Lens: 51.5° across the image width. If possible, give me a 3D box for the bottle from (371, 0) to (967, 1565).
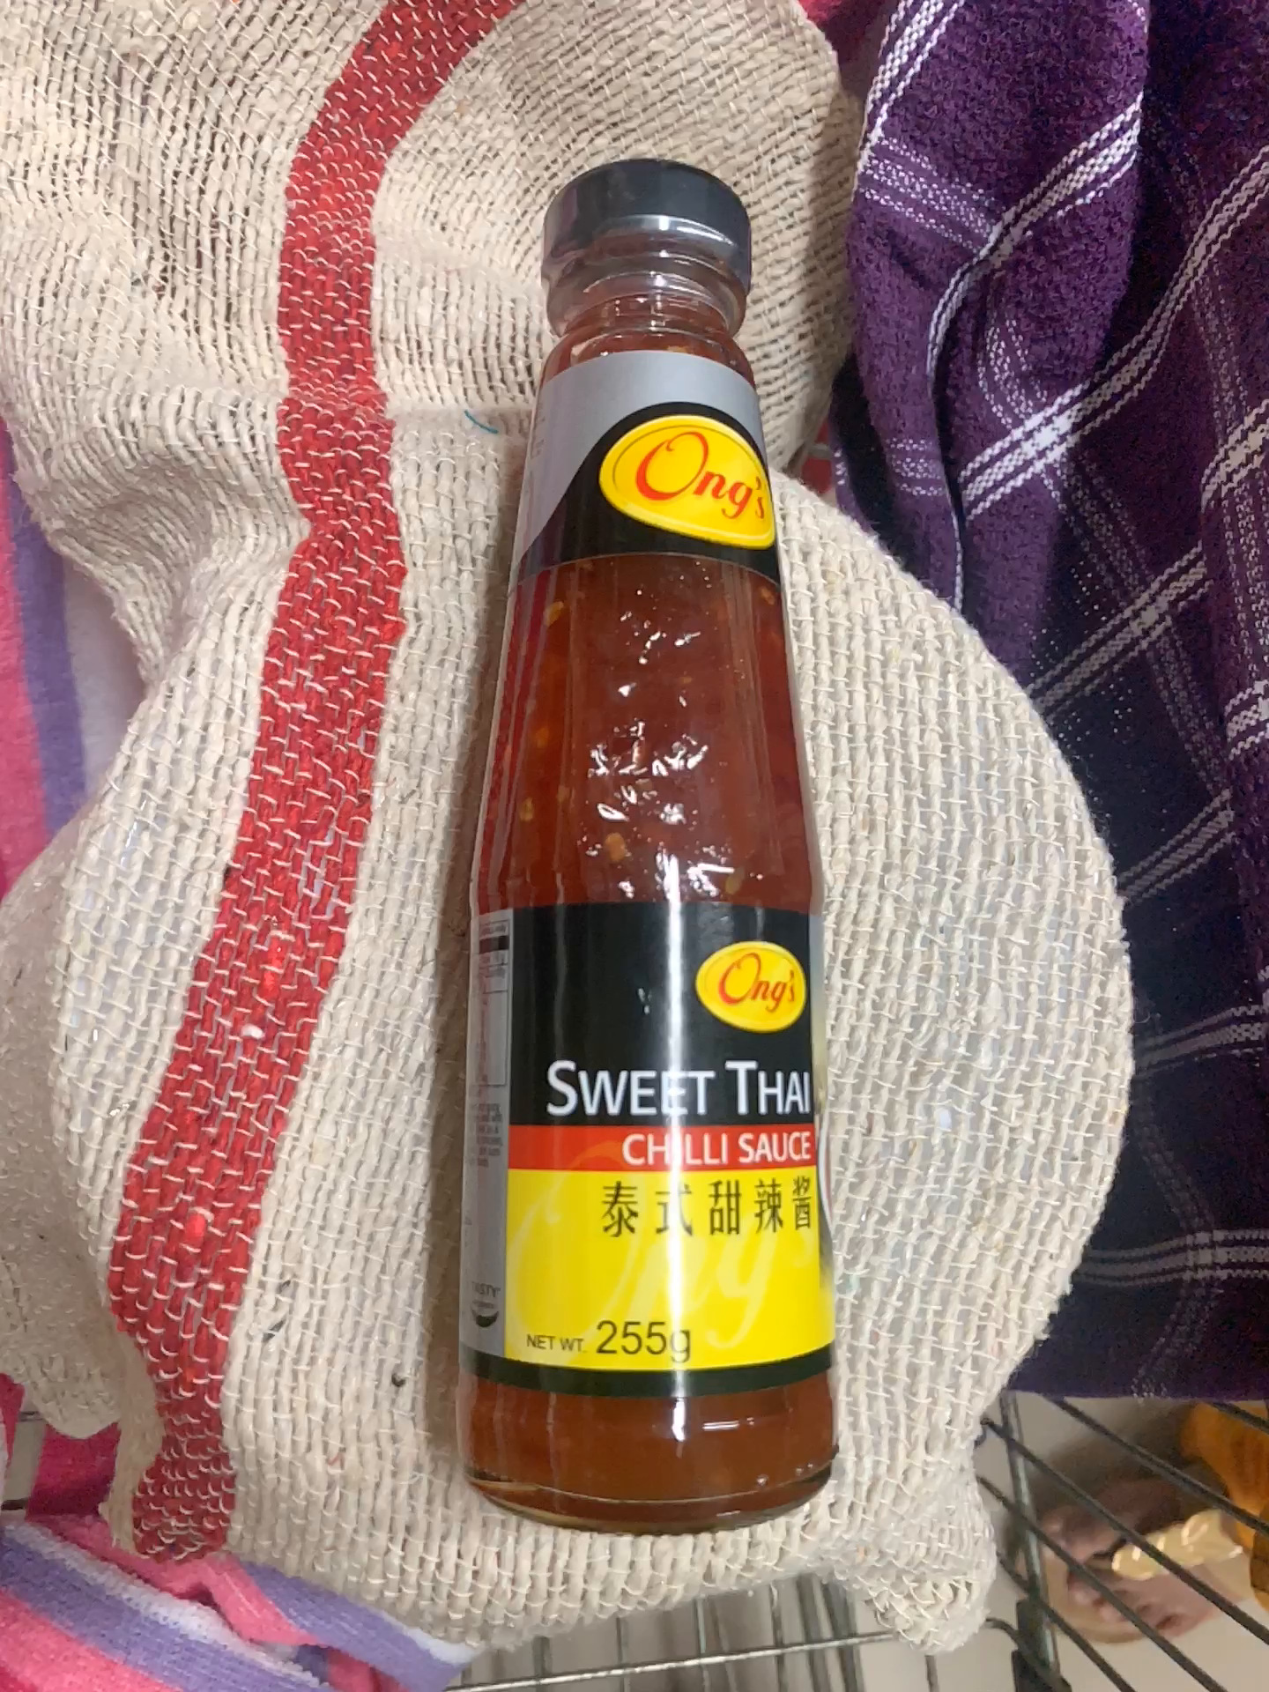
[{"bbox_3d":[0.006,-0.015,0.185,0.060,0.050,0.190,7,80,-31],"label":"bottle"}]
